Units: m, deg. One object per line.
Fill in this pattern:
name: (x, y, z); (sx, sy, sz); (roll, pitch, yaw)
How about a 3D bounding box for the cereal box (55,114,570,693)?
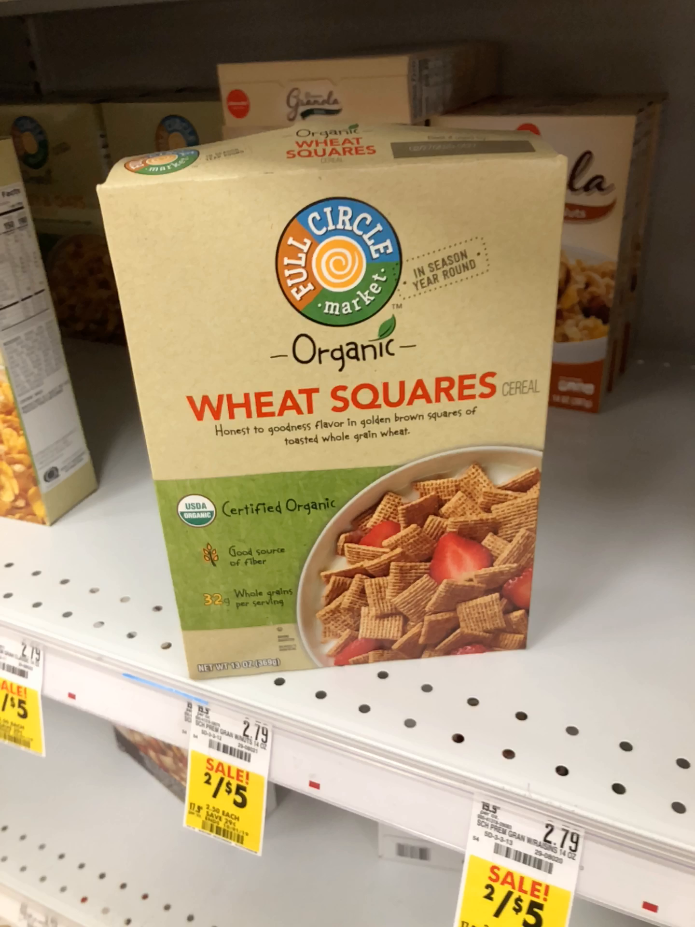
cereal box: (-0.005, -0.013, 0.390); (0.200, 0.279, 0.050); (-5, 29, -1)
